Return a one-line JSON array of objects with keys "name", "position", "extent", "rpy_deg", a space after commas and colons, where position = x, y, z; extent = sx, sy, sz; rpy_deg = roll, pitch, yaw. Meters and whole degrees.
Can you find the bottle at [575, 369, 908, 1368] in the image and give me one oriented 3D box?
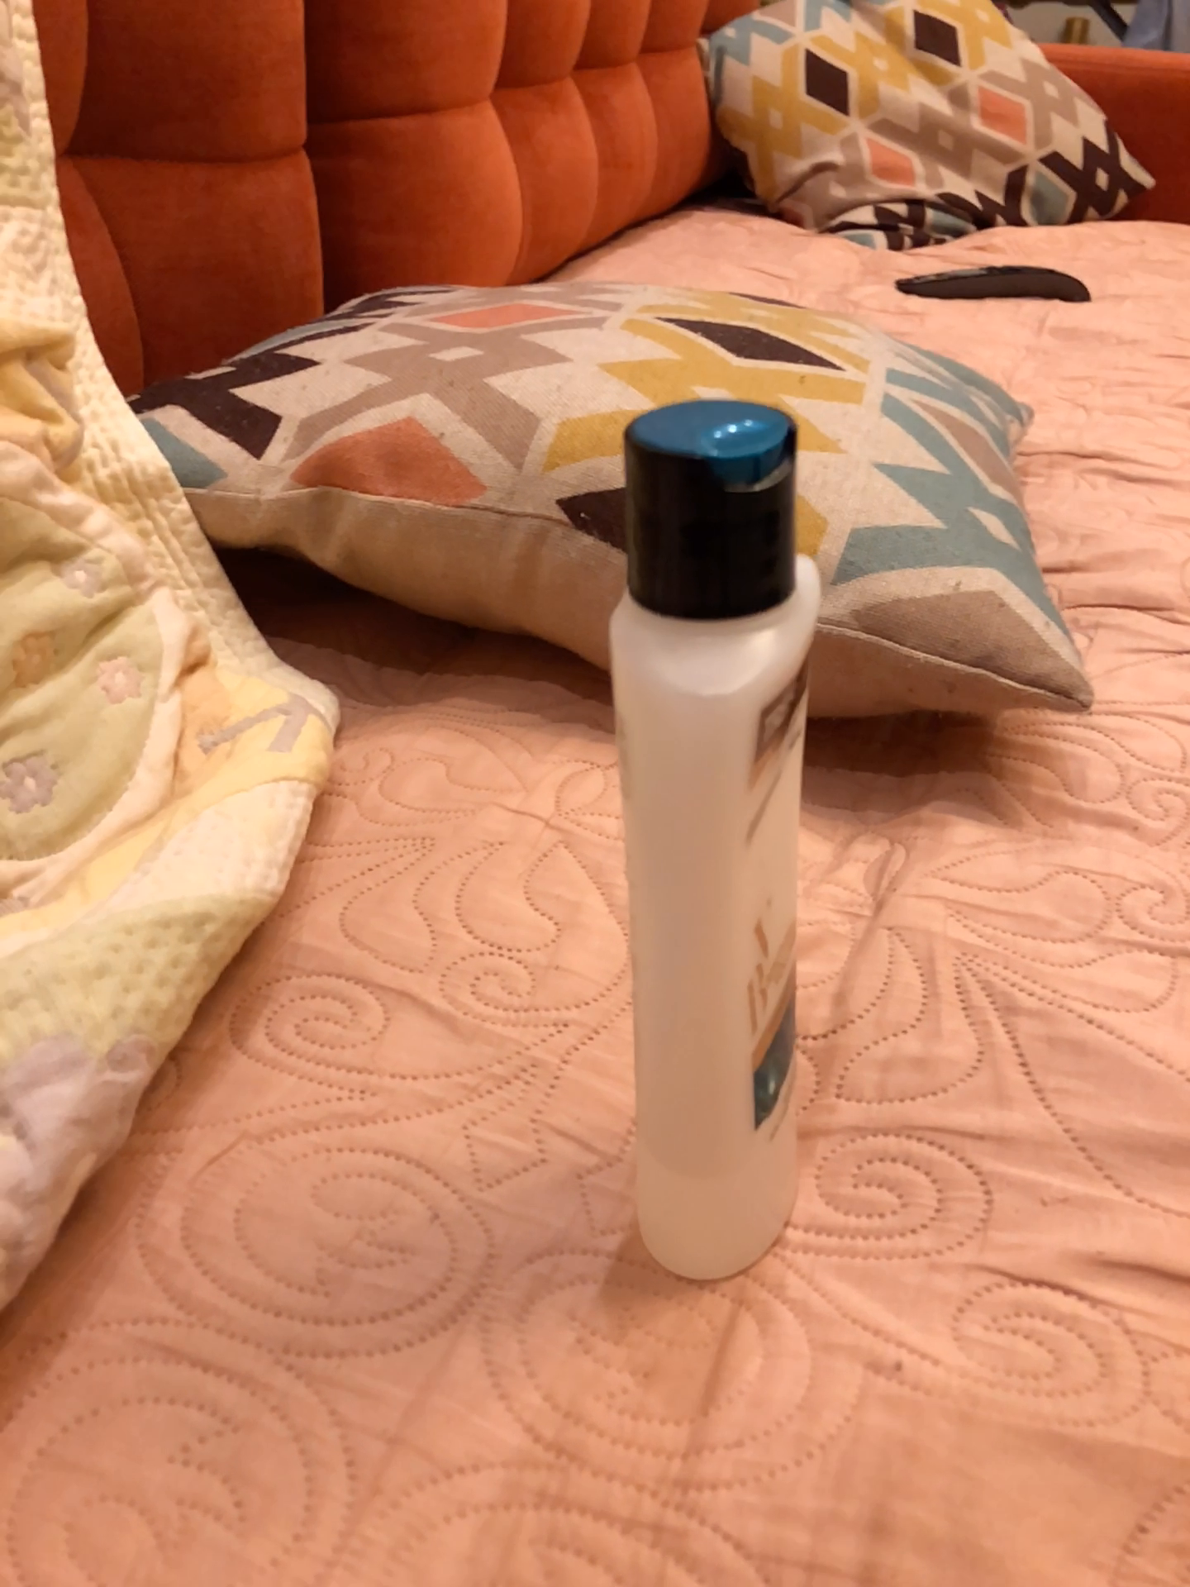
[{"name": "bottle", "position": [0.029, 0.022, 0.275], "extent": [0.040, 0.199, 0.070], "rpy_deg": [10, 32, 18]}]
